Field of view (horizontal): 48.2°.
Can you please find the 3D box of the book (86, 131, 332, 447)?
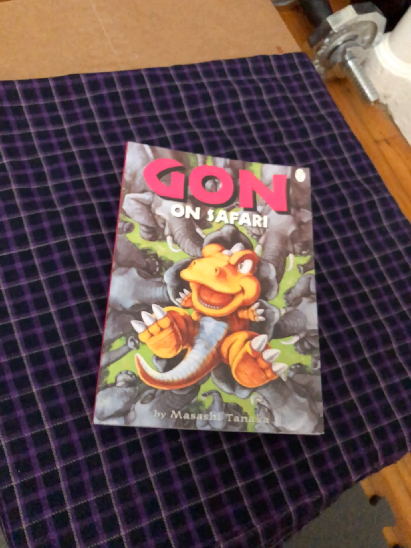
[{"bbox_3d":[0.009,0.005,0.322,0.150,0.020,0.210,7,68,-10],"label":"book"}]
